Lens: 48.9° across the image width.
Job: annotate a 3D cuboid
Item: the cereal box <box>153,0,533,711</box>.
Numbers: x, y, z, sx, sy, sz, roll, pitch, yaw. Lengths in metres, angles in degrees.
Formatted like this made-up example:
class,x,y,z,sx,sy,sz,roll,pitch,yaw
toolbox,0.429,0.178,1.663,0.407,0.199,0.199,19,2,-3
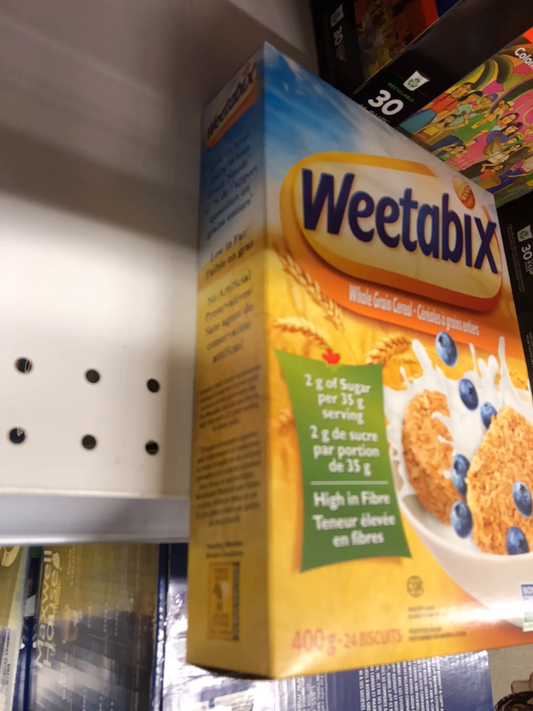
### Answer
class,x,y,z,sx,sy,sz,roll,pitch,yaw
cereal box,0.055,-0.008,0.292,0.211,0.050,0.290,15,62,-36
